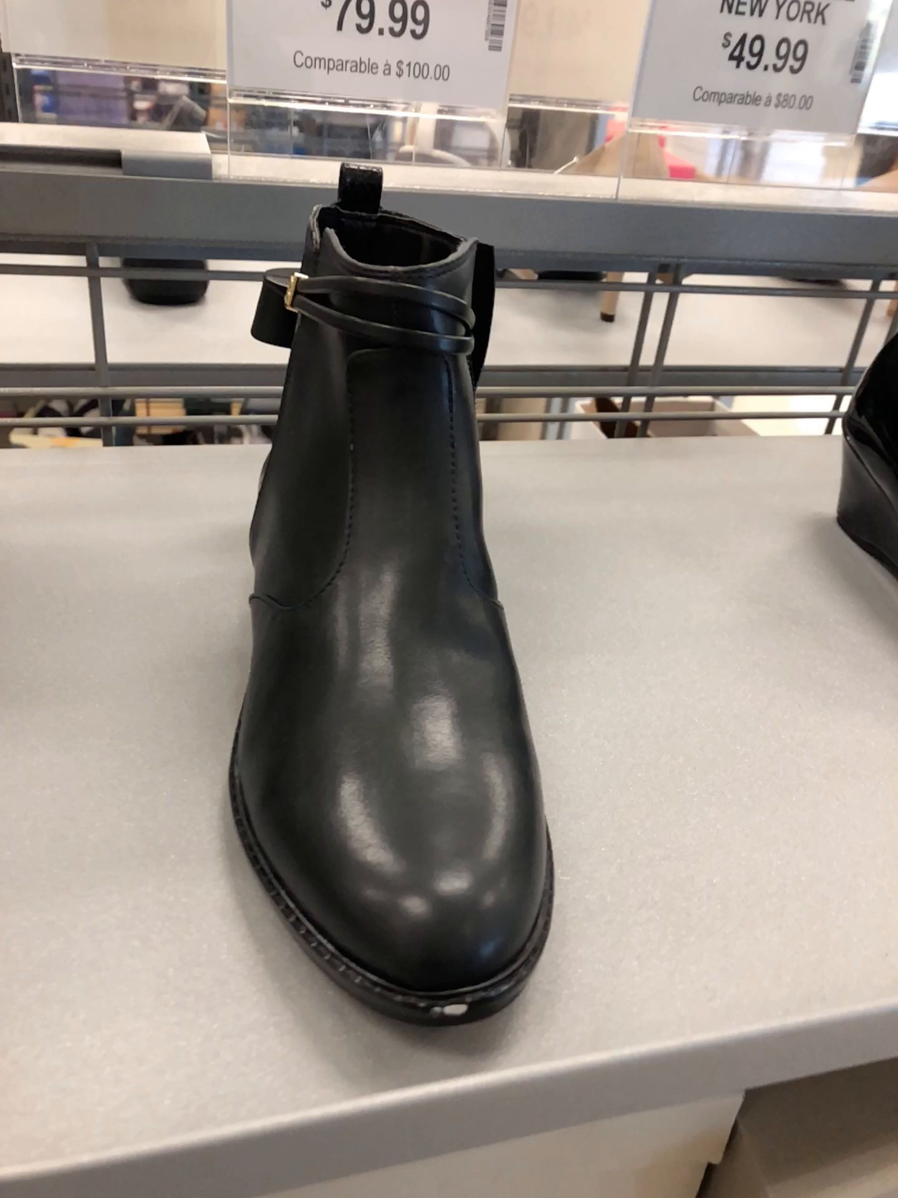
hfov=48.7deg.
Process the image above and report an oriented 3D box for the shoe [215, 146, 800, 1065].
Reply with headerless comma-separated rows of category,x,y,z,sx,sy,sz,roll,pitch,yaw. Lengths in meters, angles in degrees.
shoe,-0.018,-0.024,0.284,0.090,0.149,0.232,-1,34,-13
